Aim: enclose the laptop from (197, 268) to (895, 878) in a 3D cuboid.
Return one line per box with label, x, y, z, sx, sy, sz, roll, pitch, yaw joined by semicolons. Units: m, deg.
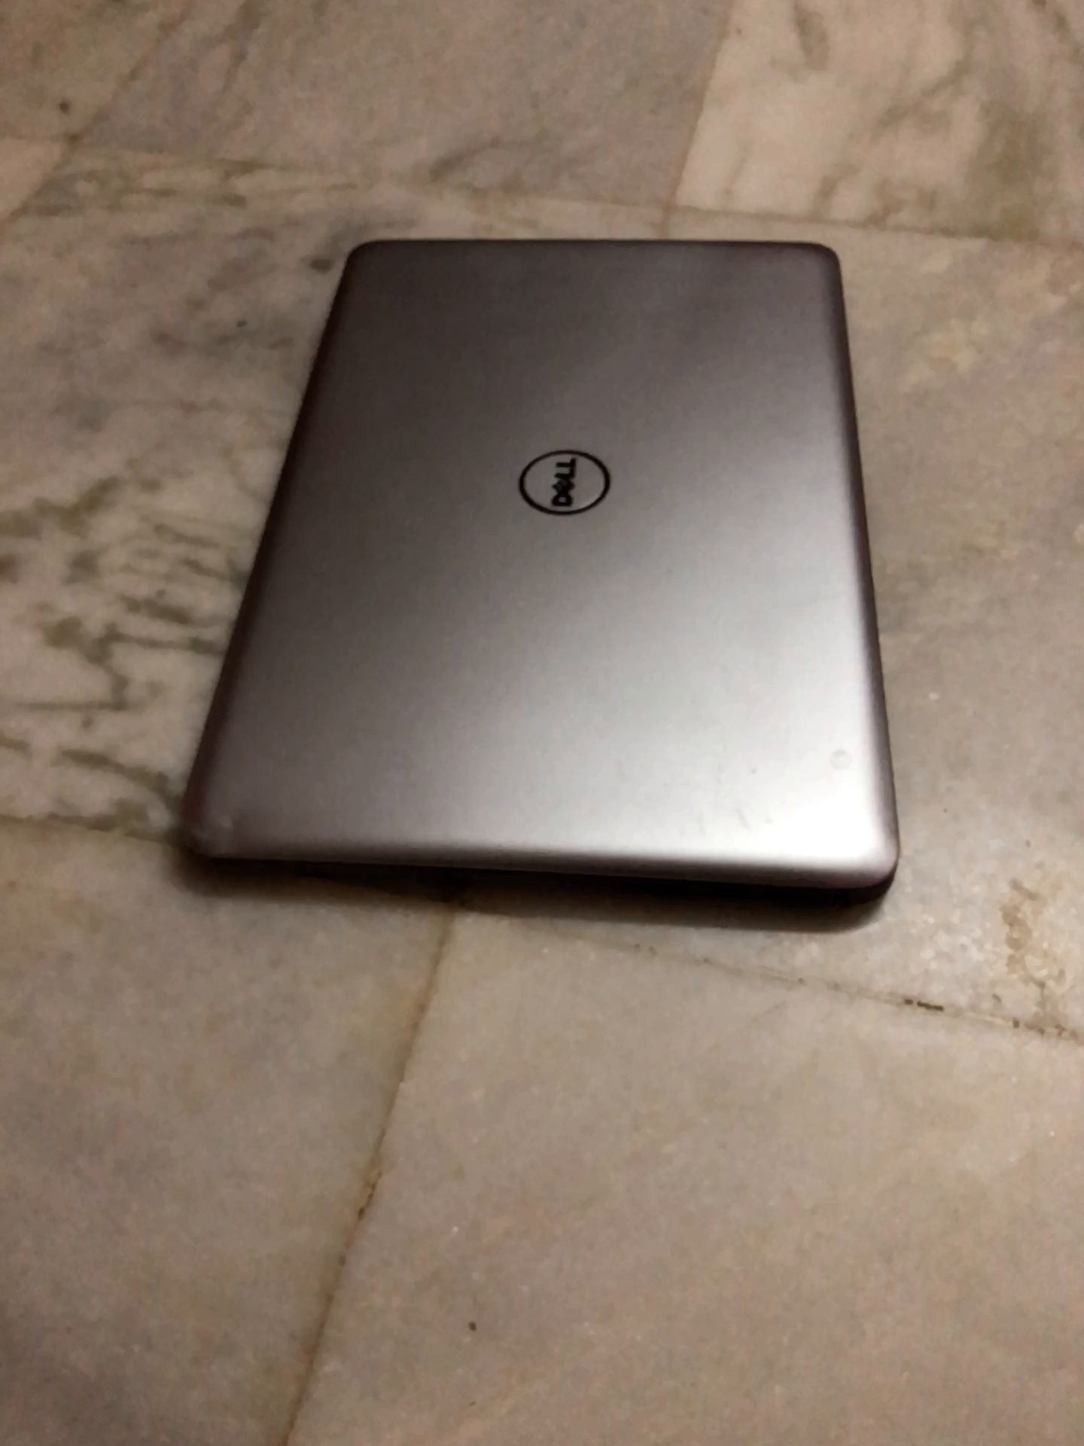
laptop;0.012;-0.092;0.521;0.244;0.002;0.347;2;55;5
